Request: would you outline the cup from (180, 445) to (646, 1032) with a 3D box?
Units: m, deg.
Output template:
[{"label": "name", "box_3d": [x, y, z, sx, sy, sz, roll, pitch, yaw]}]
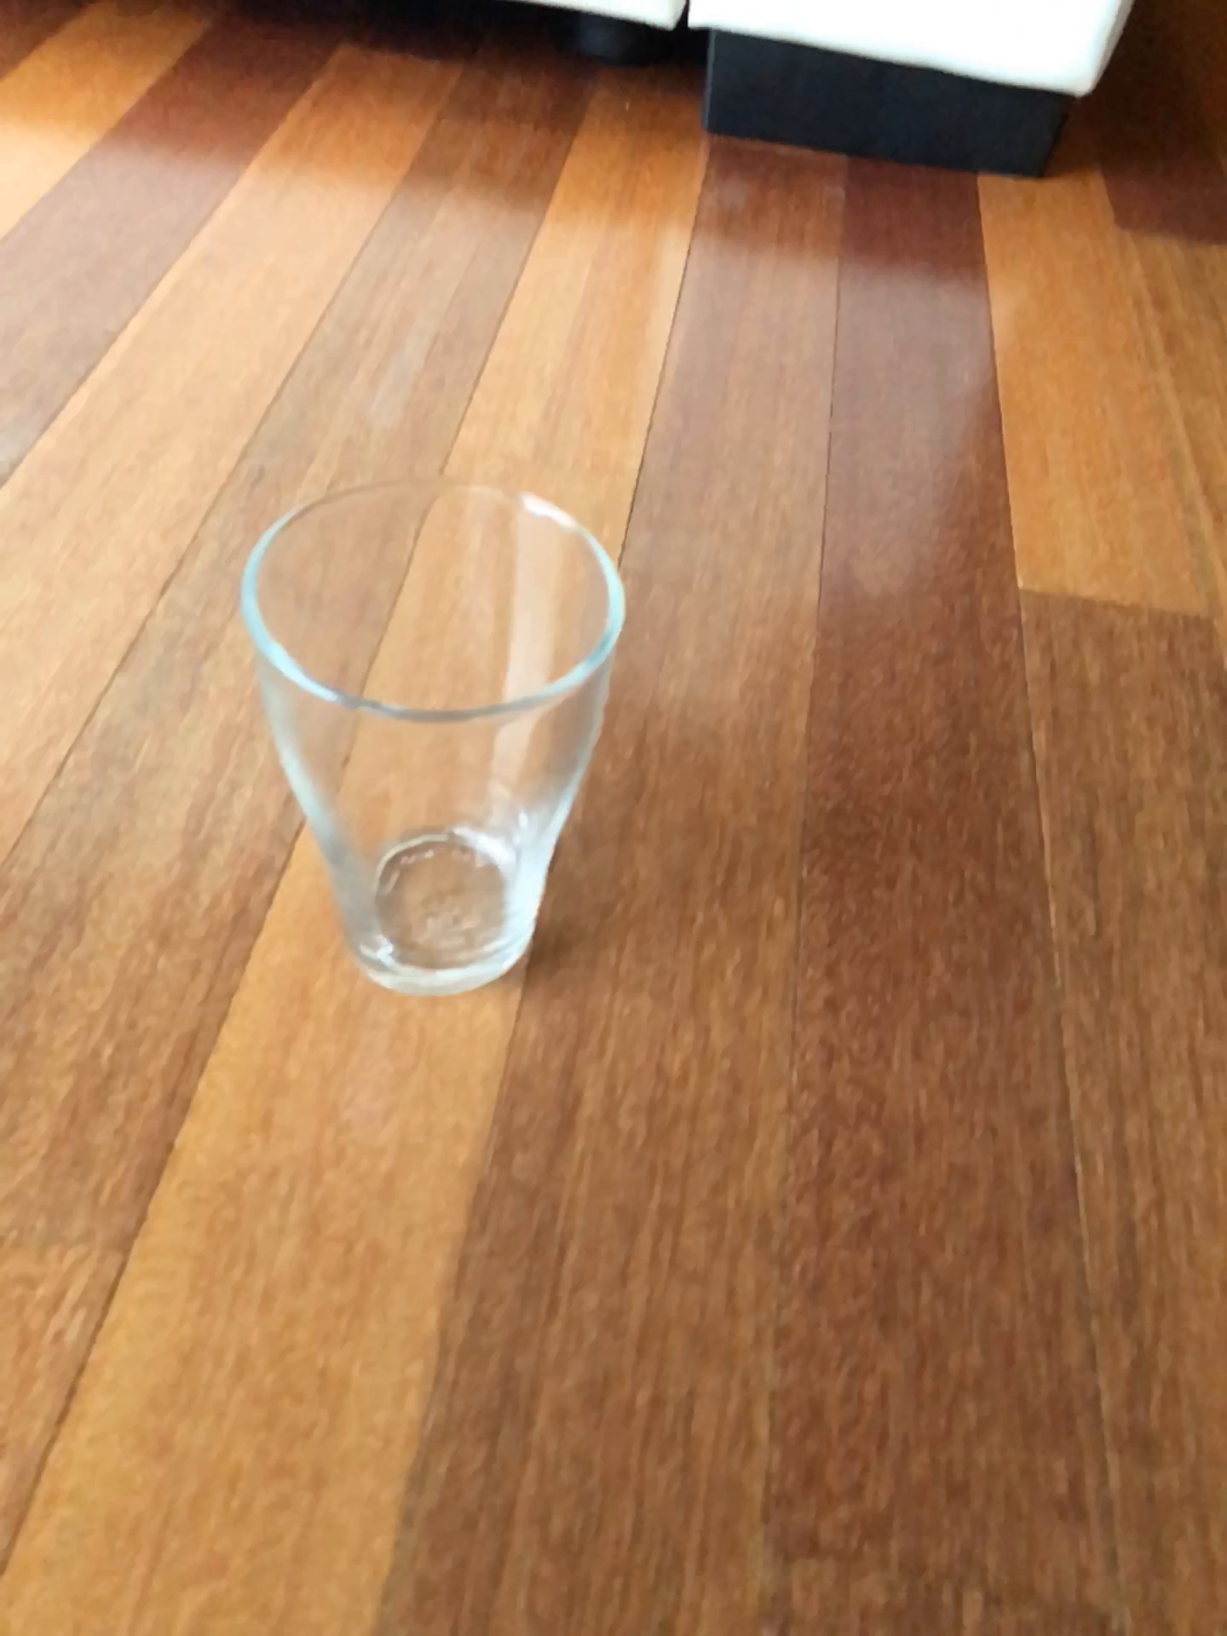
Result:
[{"label": "cup", "box_3d": [-0.045, -0.016, 0.332, 0.090, 0.109, 0.091, 3, 49, -4]}]
